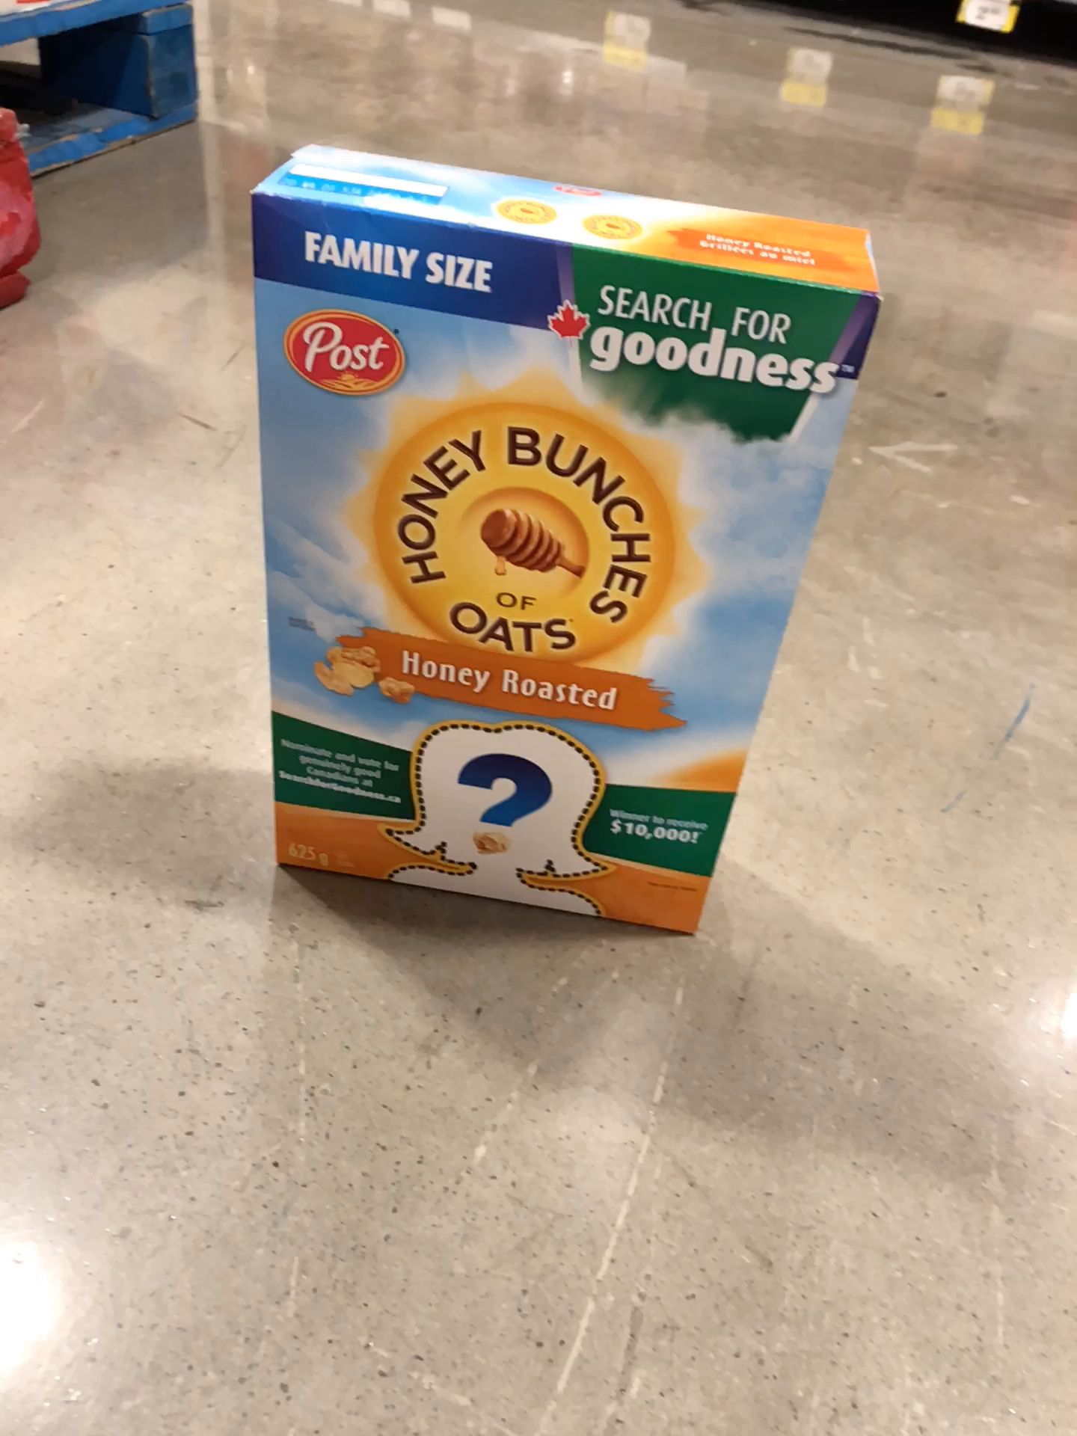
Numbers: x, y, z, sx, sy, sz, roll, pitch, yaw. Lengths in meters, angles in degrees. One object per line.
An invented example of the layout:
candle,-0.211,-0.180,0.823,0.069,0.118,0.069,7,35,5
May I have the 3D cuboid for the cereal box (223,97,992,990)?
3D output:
cereal box,0.006,-0.040,0.447,0.210,0.309,0.070,10,40,2
